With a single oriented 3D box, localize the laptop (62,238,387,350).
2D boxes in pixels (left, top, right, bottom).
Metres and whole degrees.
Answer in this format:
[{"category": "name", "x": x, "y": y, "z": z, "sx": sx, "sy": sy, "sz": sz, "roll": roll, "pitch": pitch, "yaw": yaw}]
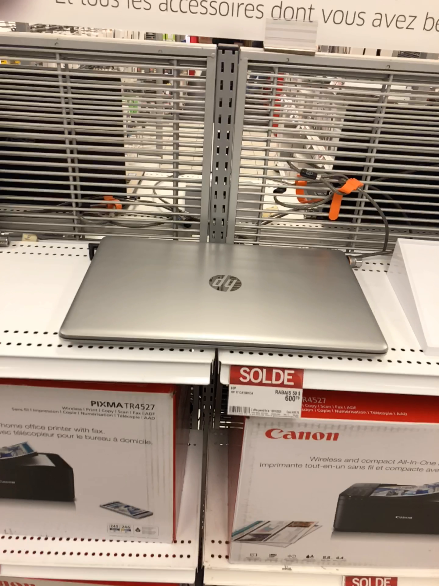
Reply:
[{"category": "laptop", "x": 0.008, "y": -0.012, "z": 0.735, "sx": 0.416, "sy": 0.002, "sz": 0.278, "roll": 3, "pitch": 32, "yaw": -1}]
